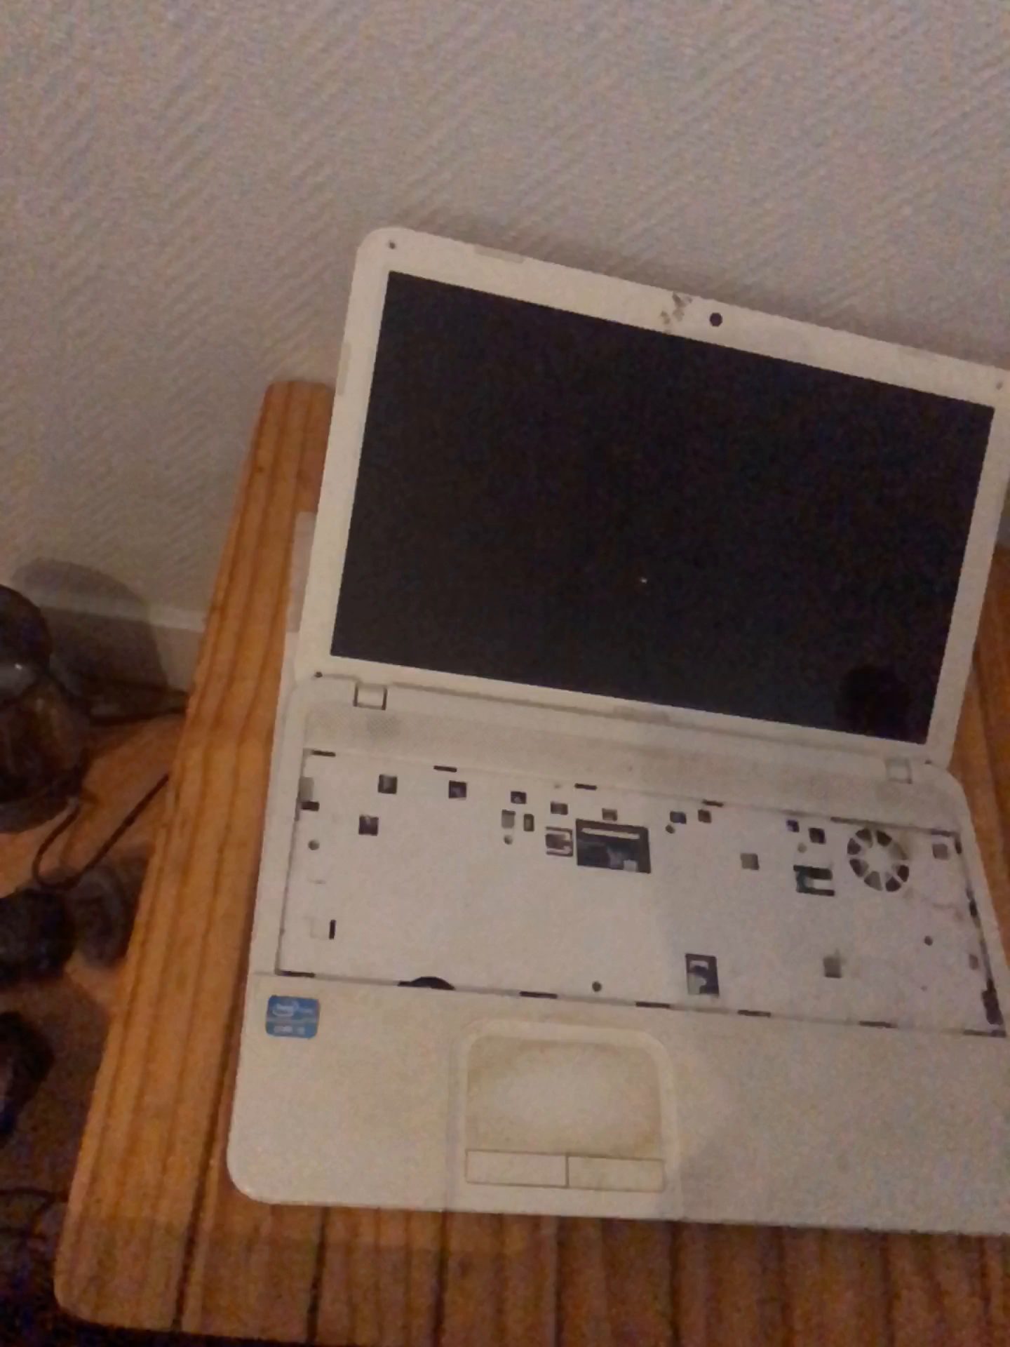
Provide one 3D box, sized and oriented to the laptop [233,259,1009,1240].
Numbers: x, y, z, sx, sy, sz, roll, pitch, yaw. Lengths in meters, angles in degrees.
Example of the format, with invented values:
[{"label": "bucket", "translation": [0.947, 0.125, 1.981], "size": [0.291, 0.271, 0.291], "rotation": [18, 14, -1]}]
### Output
[{"label": "laptop", "translation": [0.094, 0.023, 0.530], "size": [0.371, 0.118, 0.419], "rotation": [9, 56, -11]}]
